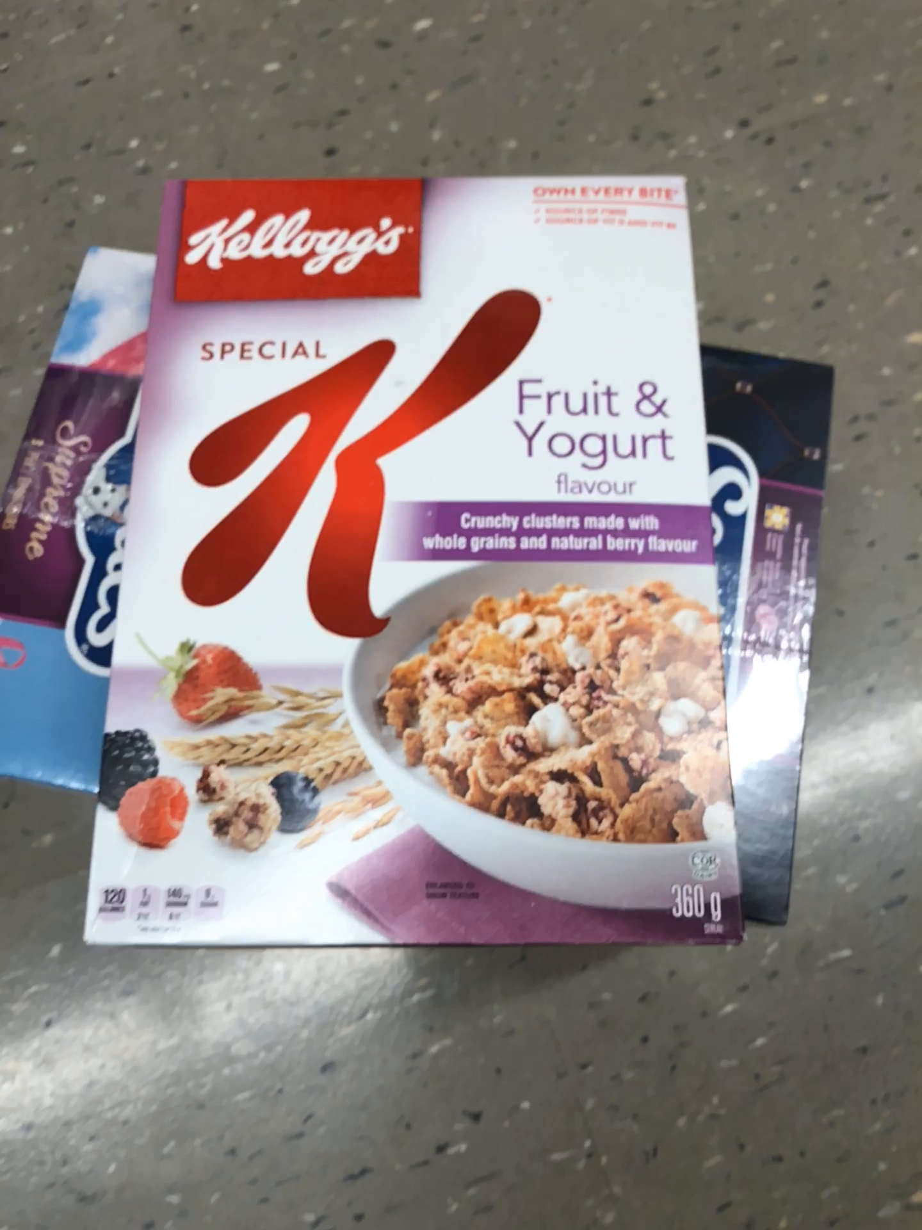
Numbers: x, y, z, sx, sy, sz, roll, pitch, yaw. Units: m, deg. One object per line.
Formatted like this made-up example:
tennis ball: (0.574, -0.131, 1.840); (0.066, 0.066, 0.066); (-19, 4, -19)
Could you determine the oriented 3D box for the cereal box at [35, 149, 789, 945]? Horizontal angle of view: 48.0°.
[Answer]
cereal box: (-0.014, -0.033, 0.360); (0.210, 0.050, 0.280); (0, 70, 0)
